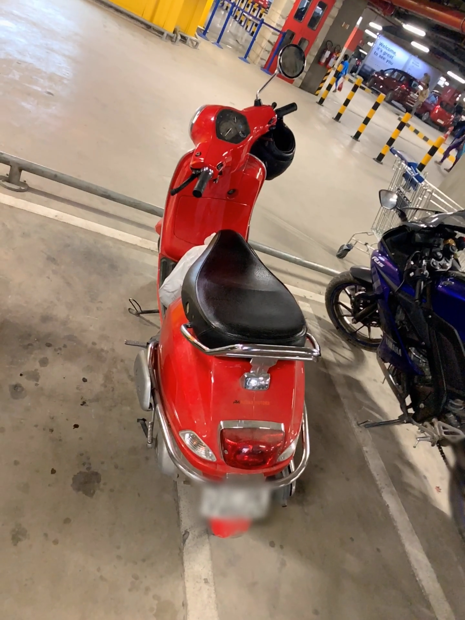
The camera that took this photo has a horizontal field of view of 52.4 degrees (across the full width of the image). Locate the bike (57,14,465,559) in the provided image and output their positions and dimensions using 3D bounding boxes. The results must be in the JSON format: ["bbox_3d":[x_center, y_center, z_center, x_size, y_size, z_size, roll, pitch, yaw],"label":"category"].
[{"bbox_3d":[-0.188,-0.186,1.817,0.633,1.201,1.684,12,35,-28],"label":"bike"}]
